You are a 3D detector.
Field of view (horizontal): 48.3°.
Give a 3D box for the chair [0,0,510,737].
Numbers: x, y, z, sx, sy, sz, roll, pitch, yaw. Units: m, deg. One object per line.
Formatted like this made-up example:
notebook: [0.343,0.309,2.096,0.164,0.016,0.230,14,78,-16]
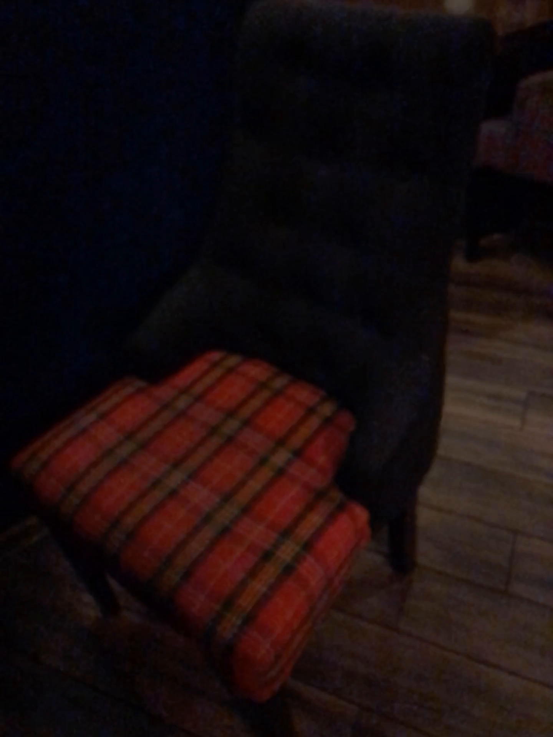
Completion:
chair: [-0.085,0.052,0.972,0.521,1.003,0.613,24,48,32]
